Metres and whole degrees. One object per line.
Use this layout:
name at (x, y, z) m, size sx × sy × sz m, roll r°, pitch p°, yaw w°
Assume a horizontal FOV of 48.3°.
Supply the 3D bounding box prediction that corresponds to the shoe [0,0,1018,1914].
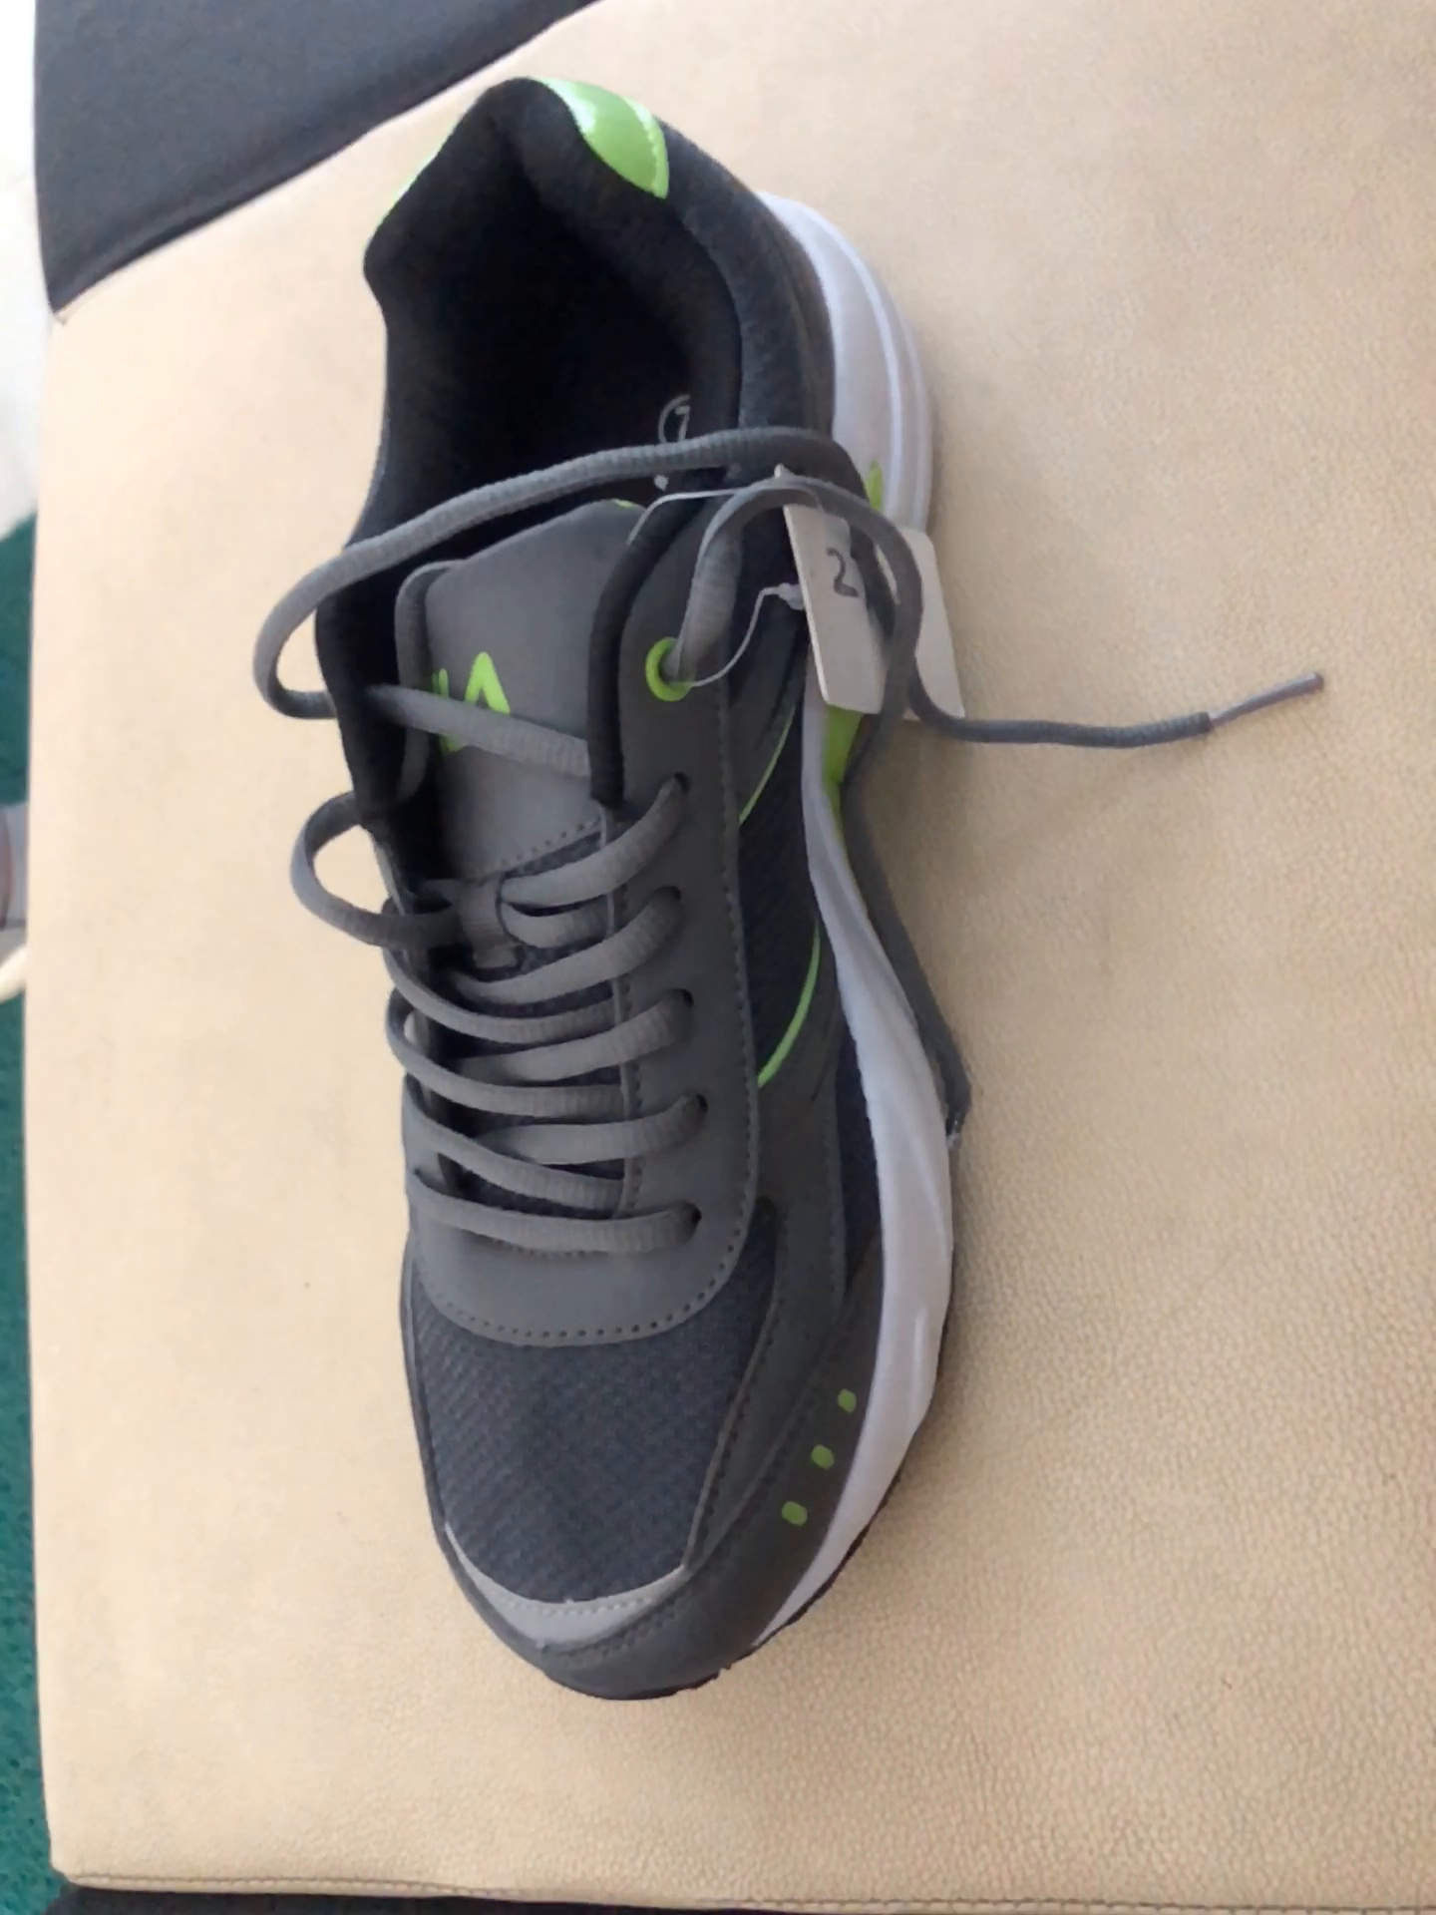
shoe at (-0.031, -0.025, 0.296) m, size 0.130 × 0.100 × 0.320 m, roll -7°, pitch 75°, yaw 28°
